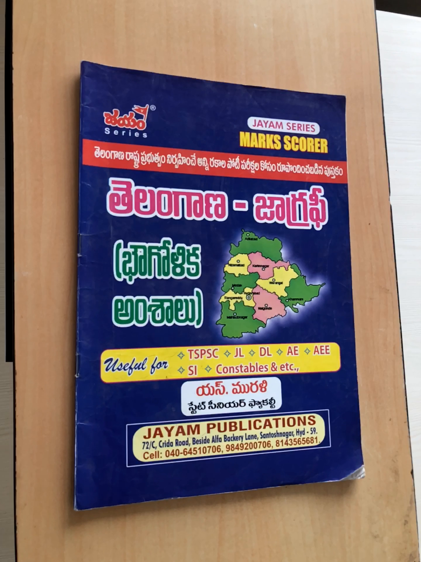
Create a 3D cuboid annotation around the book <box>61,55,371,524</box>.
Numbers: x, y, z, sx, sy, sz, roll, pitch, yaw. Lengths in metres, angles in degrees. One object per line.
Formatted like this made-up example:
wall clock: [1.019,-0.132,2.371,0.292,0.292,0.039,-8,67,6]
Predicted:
book: [0.005,0.001,0.323,0.200,0.040,0.280,1,83,-16]
